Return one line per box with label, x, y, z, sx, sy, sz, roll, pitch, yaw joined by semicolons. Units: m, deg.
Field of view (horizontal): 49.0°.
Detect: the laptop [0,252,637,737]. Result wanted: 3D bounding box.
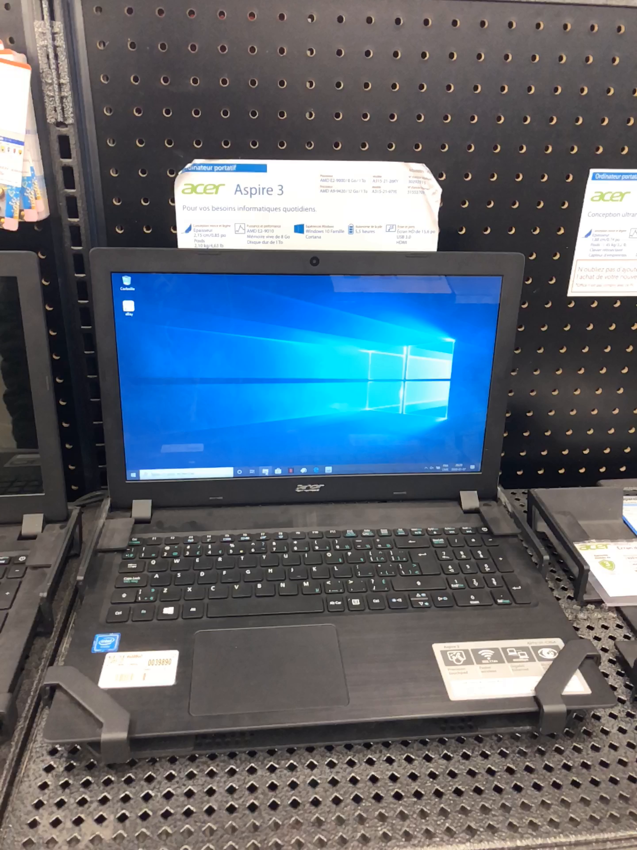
laptop;0.004;0.021;0.552;0.386;0.247;0.296;-1;25;-5
